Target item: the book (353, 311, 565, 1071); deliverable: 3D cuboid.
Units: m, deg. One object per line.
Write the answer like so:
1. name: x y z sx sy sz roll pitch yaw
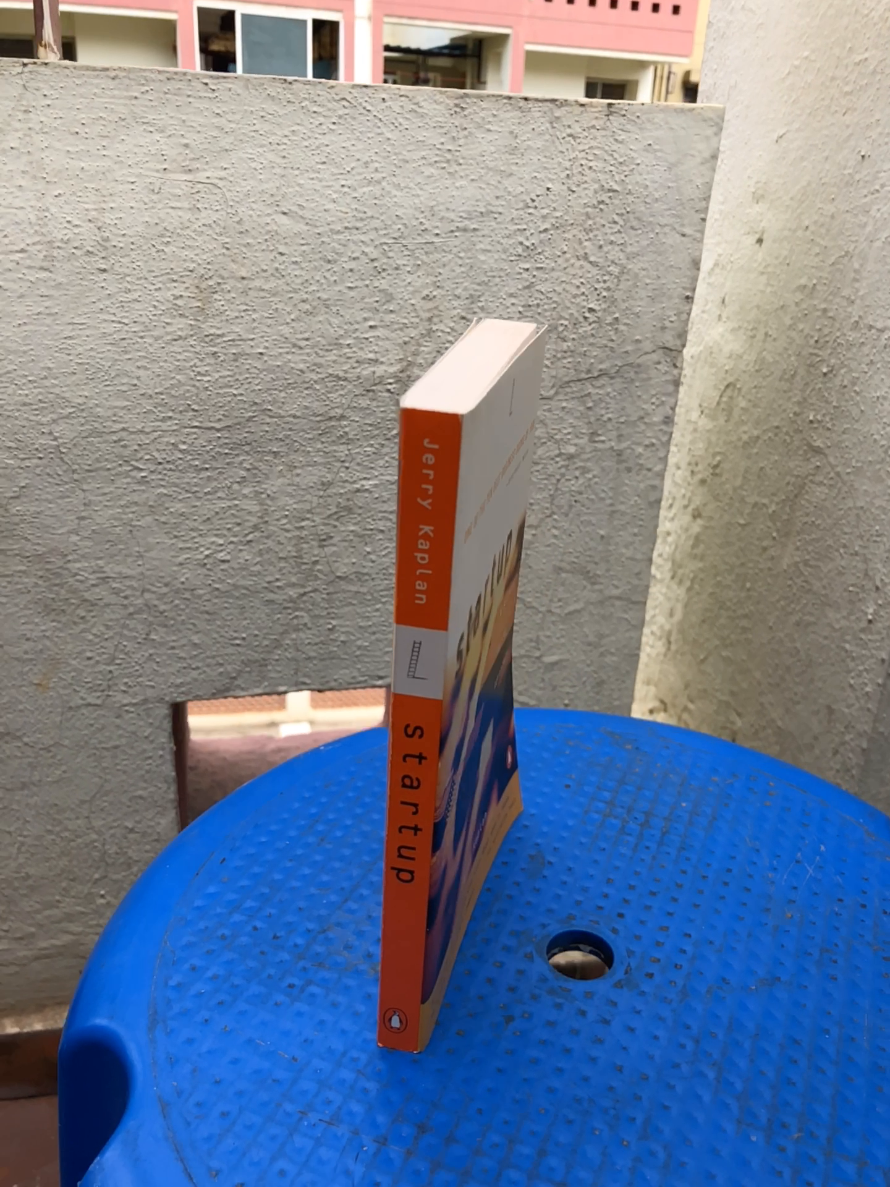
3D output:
1. book: 0.007 0.022 0.320 0.030 0.199 0.141 8 24 10
